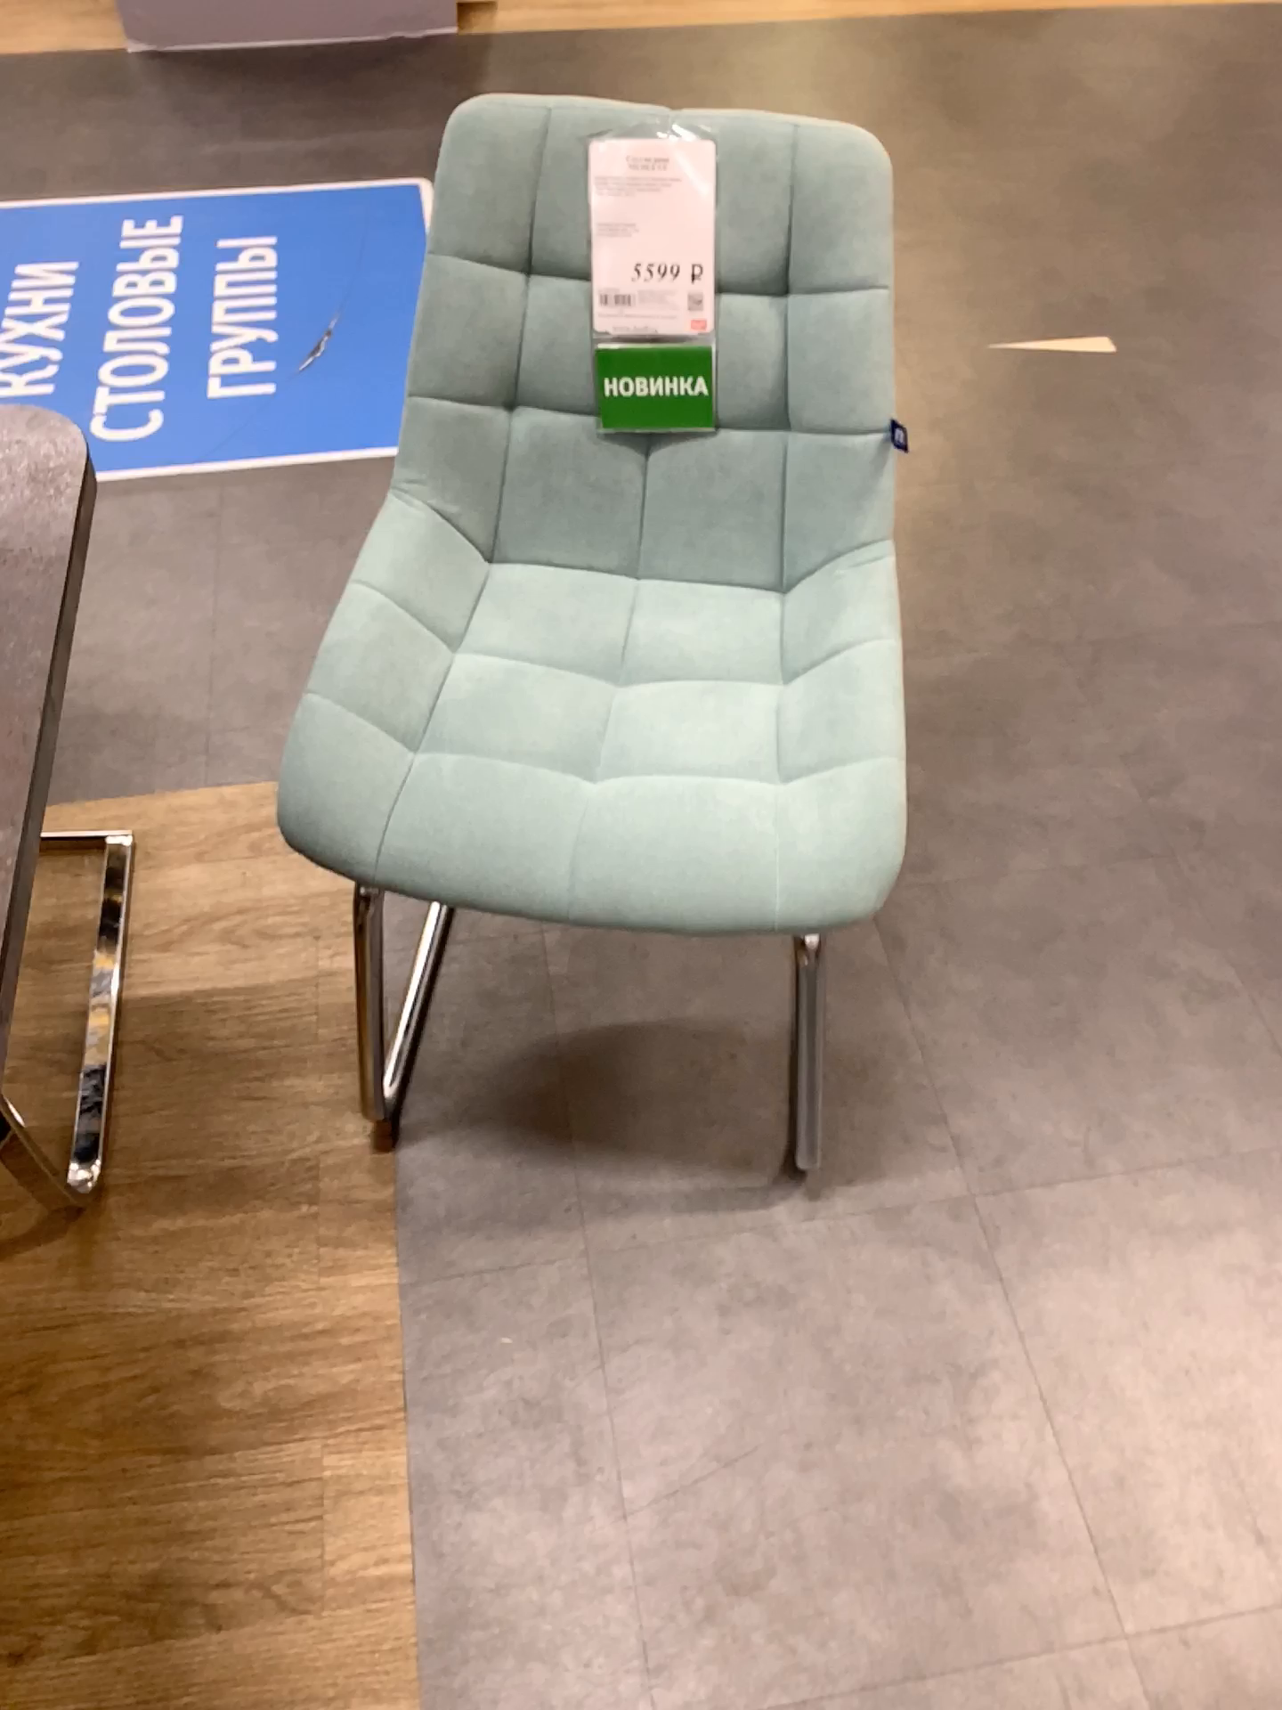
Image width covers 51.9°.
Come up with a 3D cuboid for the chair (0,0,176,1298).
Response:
[{"bbox_3d":[-0.808,-0.129,1.086,0.510,1.005,0.573,-4,51,-4],"label":"chair"}]

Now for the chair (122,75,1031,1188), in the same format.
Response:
[{"bbox_3d":[-0.019,-0.153,1.228,0.510,0.826,0.553,5,51,3],"label":"chair"}]
